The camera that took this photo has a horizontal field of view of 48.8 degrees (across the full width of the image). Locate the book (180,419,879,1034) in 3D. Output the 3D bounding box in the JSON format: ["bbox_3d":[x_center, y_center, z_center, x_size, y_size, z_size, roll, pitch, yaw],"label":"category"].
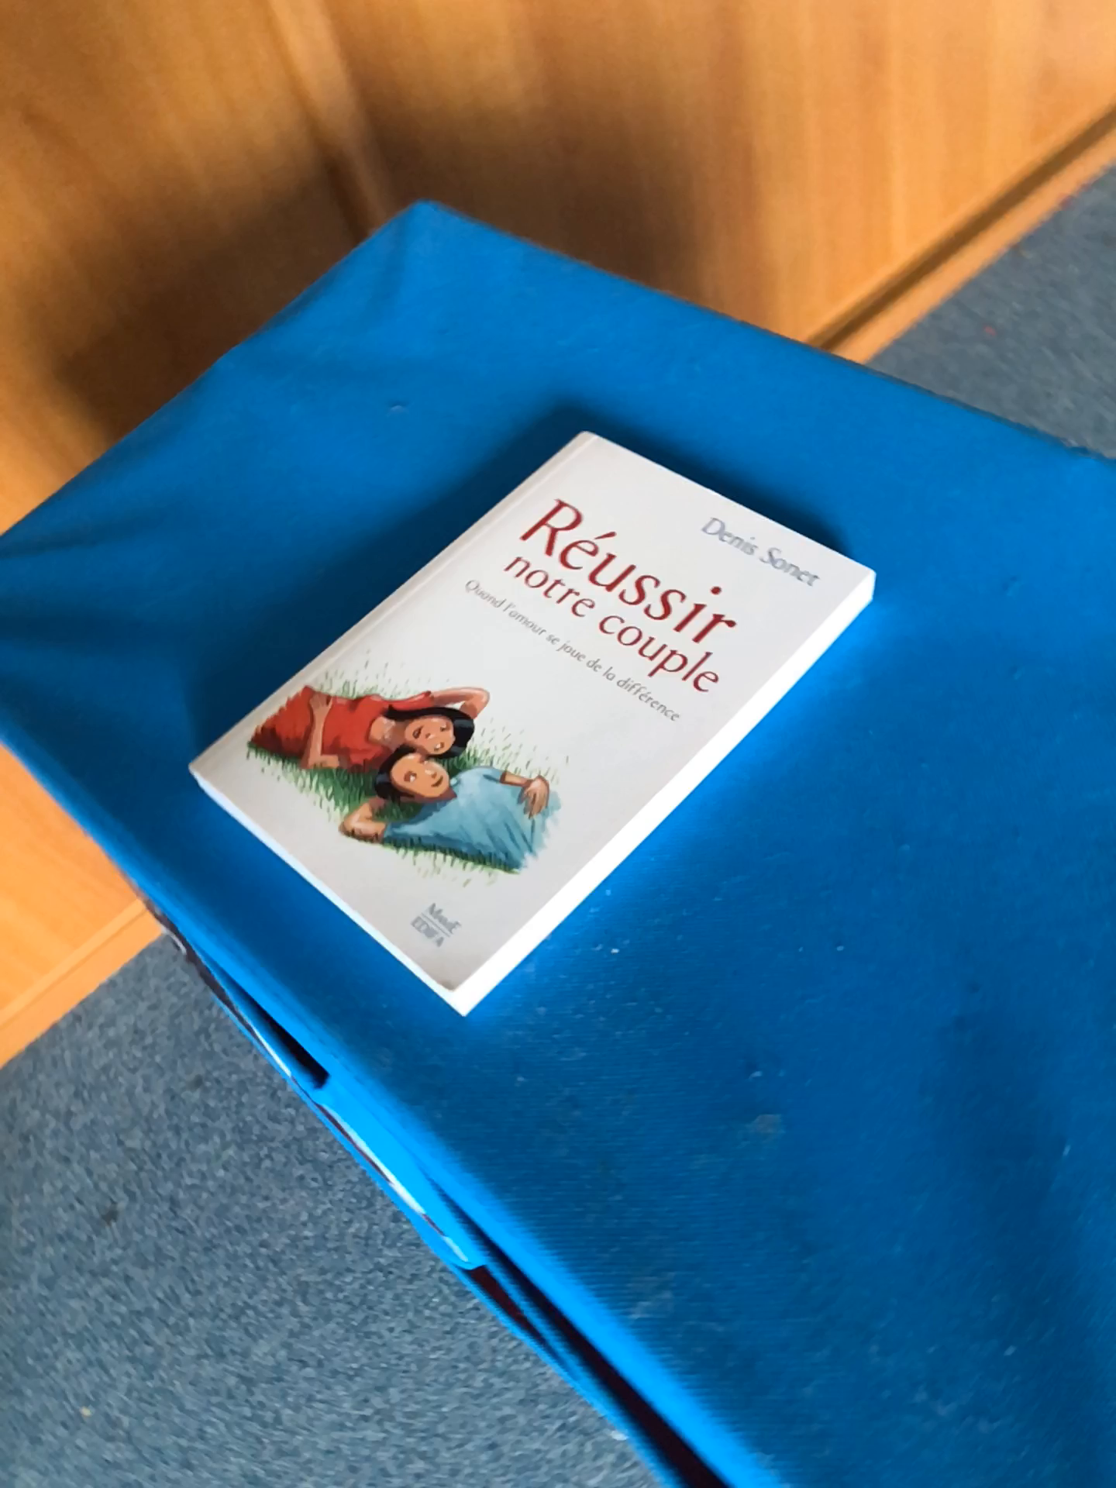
[{"bbox_3d":[-0.009,-0.020,0.394,0.134,0.016,0.186,34,69,31],"label":"book"}]
